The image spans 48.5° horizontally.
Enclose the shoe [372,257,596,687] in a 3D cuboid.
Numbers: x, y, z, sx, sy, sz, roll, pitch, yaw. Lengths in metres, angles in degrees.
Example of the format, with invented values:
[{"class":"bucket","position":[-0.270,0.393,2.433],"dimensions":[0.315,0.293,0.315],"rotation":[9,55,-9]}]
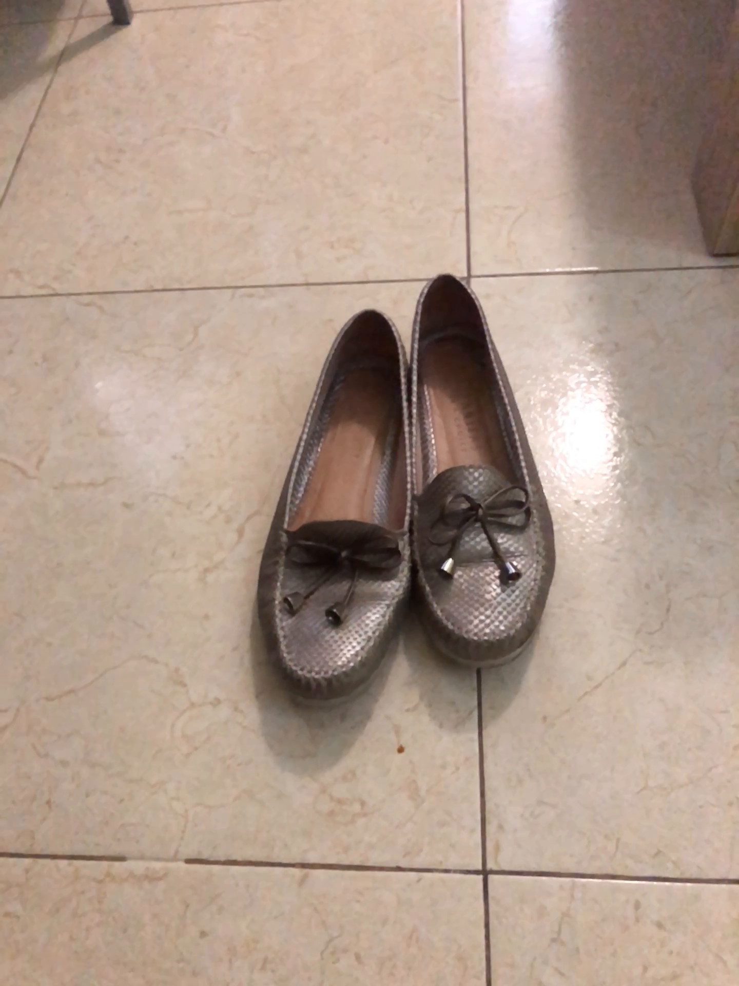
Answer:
[{"class":"shoe","position":[0.063,-0.023,0.532],"dimensions":[0.100,0.080,0.271],"rotation":[-6,58,3]}]

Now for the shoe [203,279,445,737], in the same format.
[{"class":"shoe","position":[-0.015,-0.004,0.549],"dimensions":[0.100,0.080,0.301],"rotation":[4,59,9]}]
